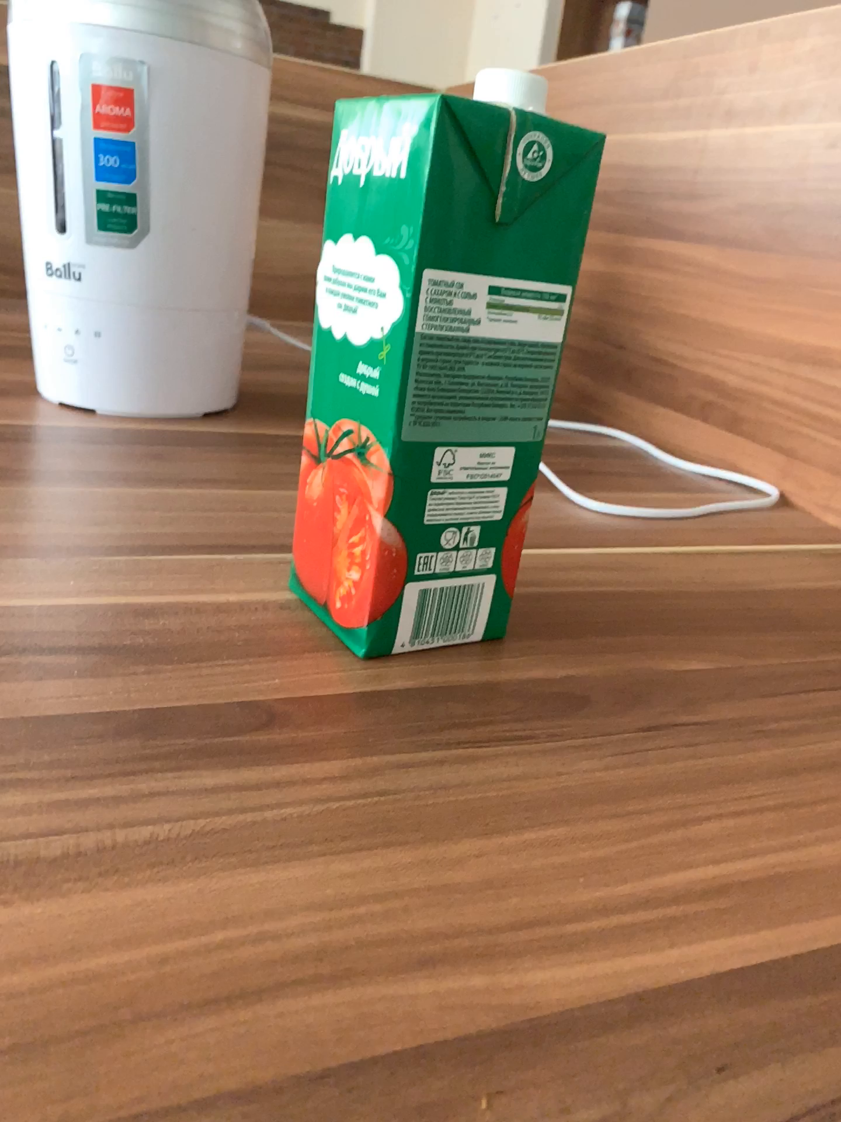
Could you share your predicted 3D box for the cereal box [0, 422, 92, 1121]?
[{"bbox_3d":[-0.588,0.457,0.355,0.591,0.836,0.612,18,23,25],"label":"cereal box"}]
